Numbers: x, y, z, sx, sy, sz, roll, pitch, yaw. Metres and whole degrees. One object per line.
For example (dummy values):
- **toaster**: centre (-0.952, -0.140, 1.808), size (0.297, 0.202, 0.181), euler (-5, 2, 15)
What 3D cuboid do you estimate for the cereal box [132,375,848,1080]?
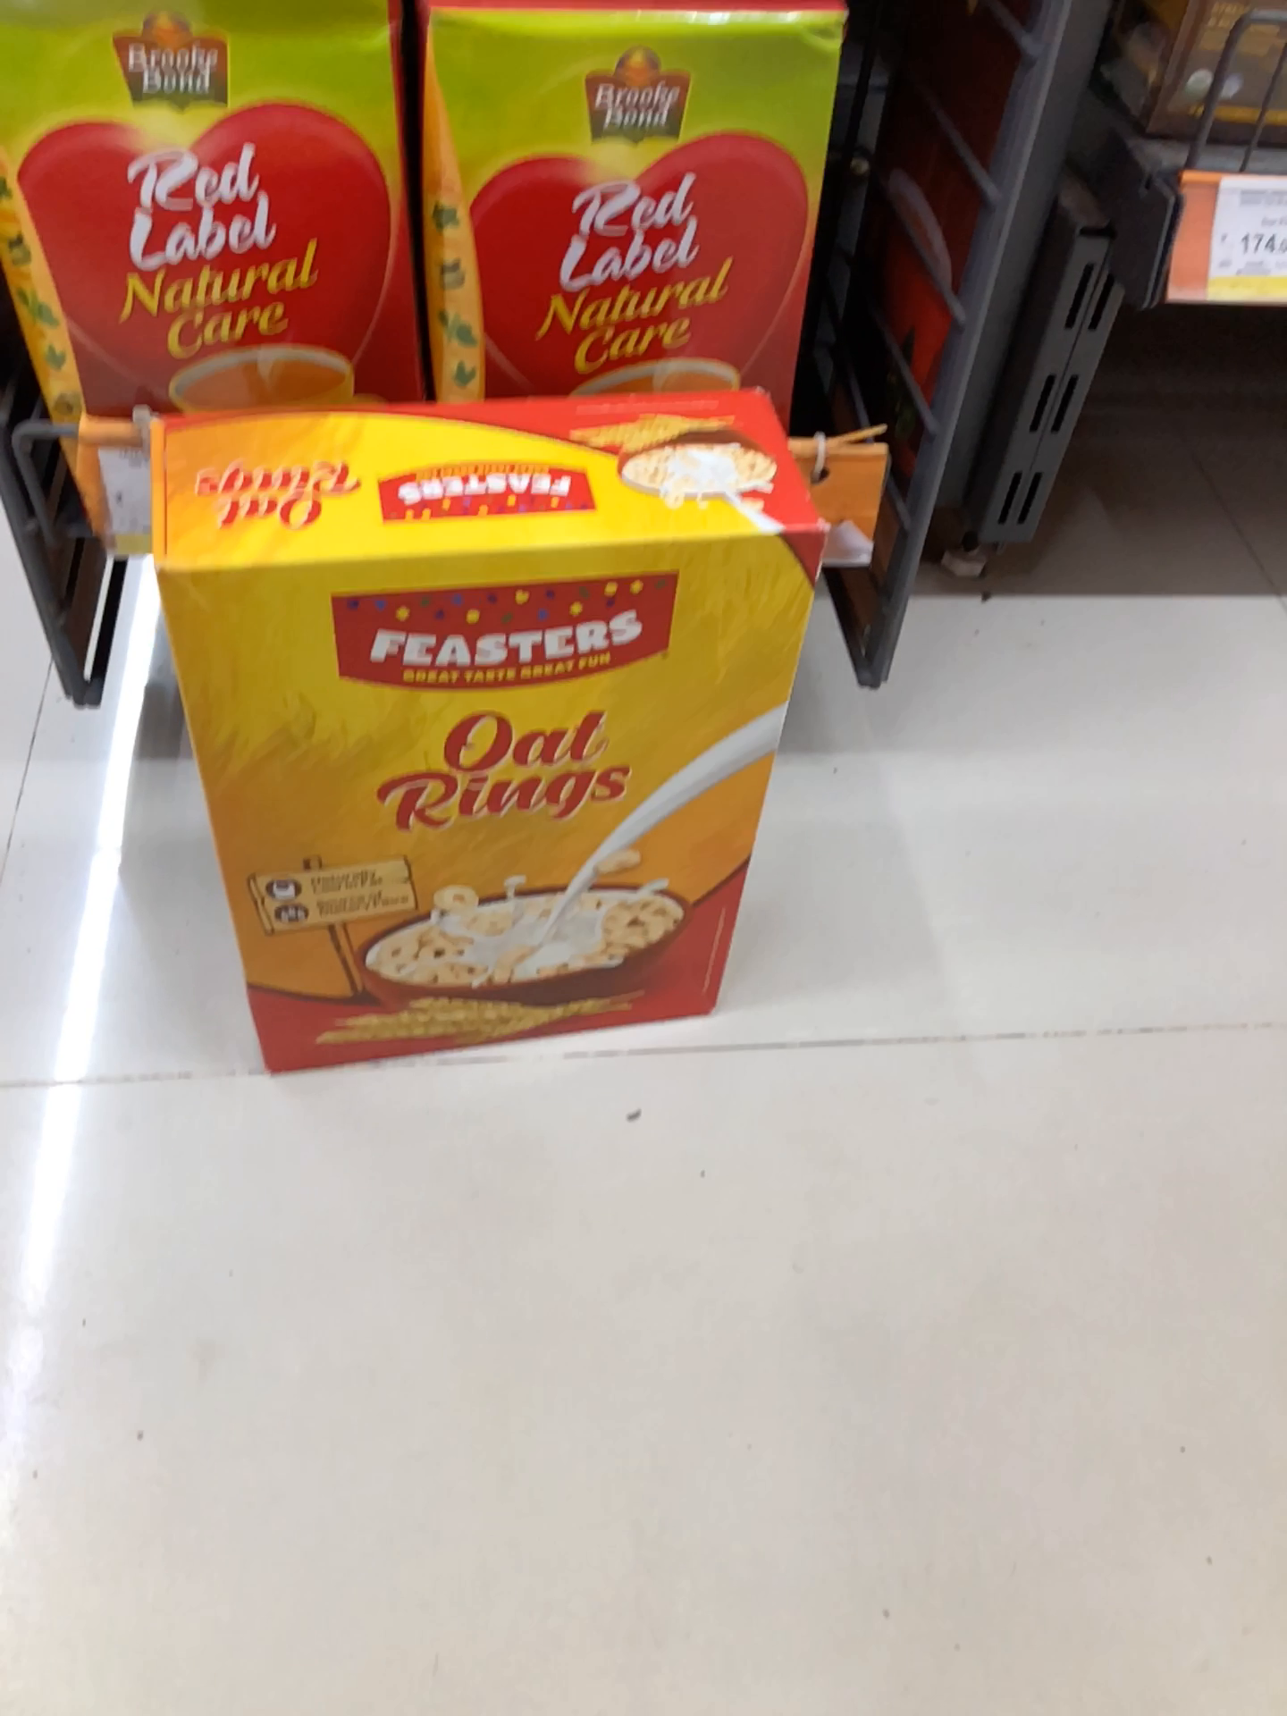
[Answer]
- **cereal box**: centre (-0.049, -0.030, 0.440), size (0.170, 0.219, 0.070), euler (-6, 51, -12)

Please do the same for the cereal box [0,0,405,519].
- **cereal box**: centre (-0.141, -0.202, 0.450), size (0.120, 0.169, 0.080), euler (-3, 50, -10)

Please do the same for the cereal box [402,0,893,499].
- **cereal box**: centre (-0.008, -0.202, 0.444), size (0.120, 0.149, 0.080), euler (-6, 51, -12)
